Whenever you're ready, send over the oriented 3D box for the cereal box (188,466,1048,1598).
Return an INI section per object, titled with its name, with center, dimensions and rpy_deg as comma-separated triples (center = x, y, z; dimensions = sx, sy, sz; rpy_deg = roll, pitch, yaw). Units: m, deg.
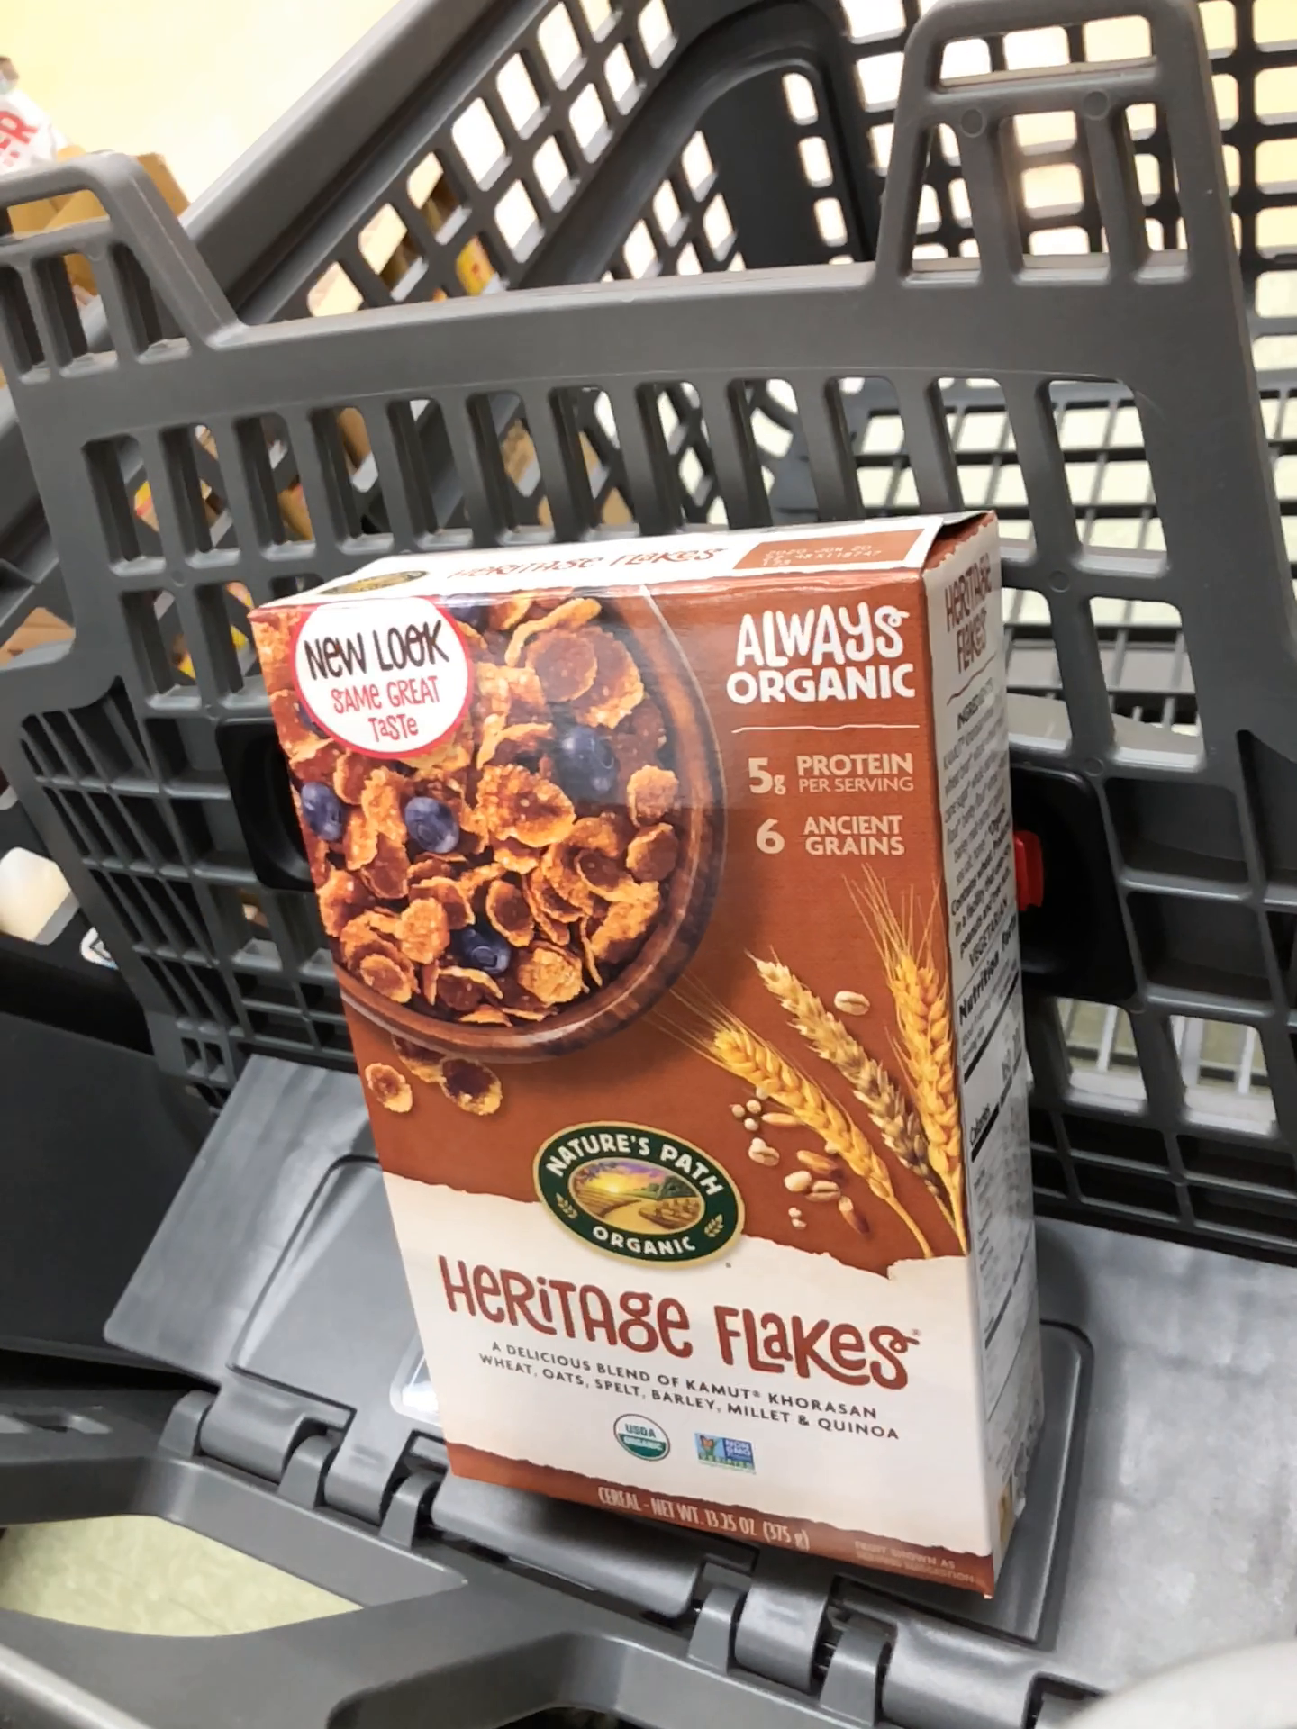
[cereal box]
center = 0.001, 0.042, 0.357
dimensions = 0.170, 0.250, 0.060
rpy_deg = 1, 21, 25
